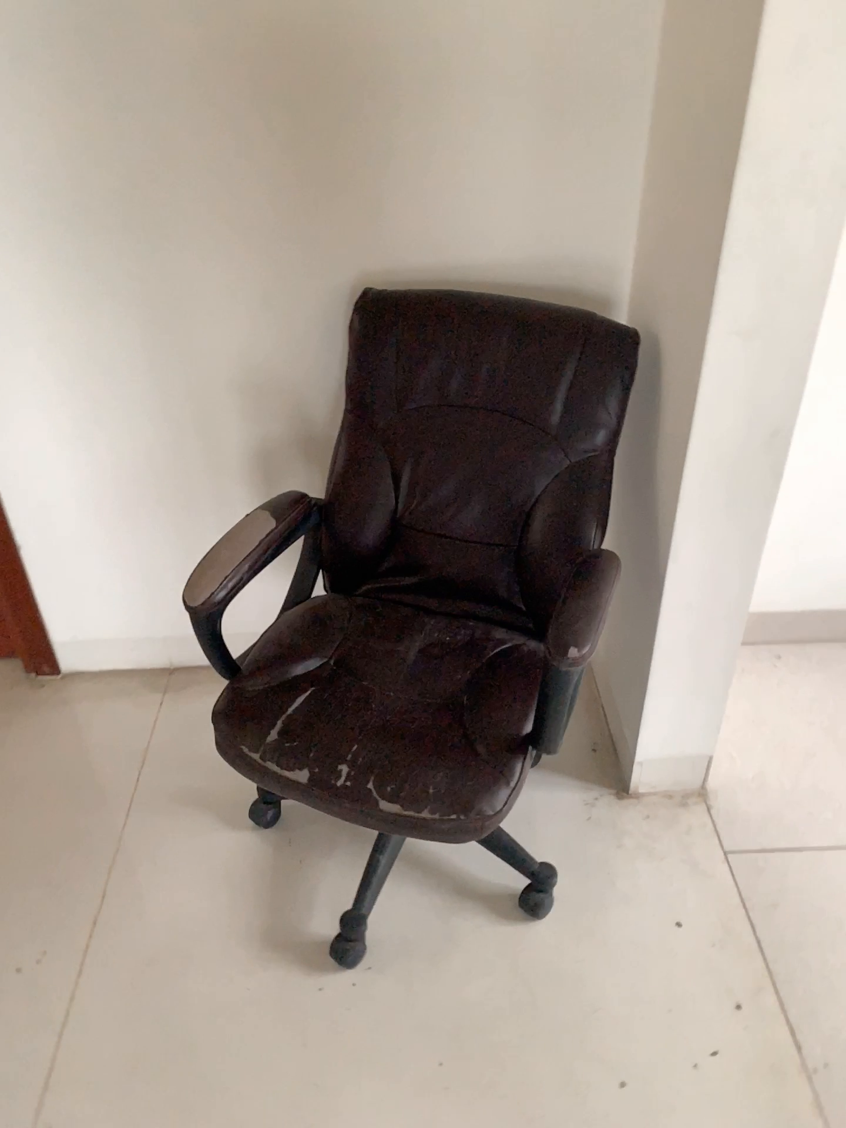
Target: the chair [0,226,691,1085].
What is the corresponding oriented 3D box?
[{"bbox_3d":[-0.049,0.089,1.409,0.701,0.996,0.792,12,37,18],"label":"chair"}]
